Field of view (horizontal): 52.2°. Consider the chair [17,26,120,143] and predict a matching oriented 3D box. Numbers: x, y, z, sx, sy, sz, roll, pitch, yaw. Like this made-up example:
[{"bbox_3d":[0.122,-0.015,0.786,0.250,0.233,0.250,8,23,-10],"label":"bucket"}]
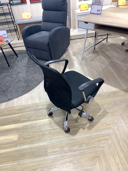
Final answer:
[{"bbox_3d":[0.045,-0.033,1.382,0.601,0.865,0.643,-31,47,-26],"label":"chair"}]
